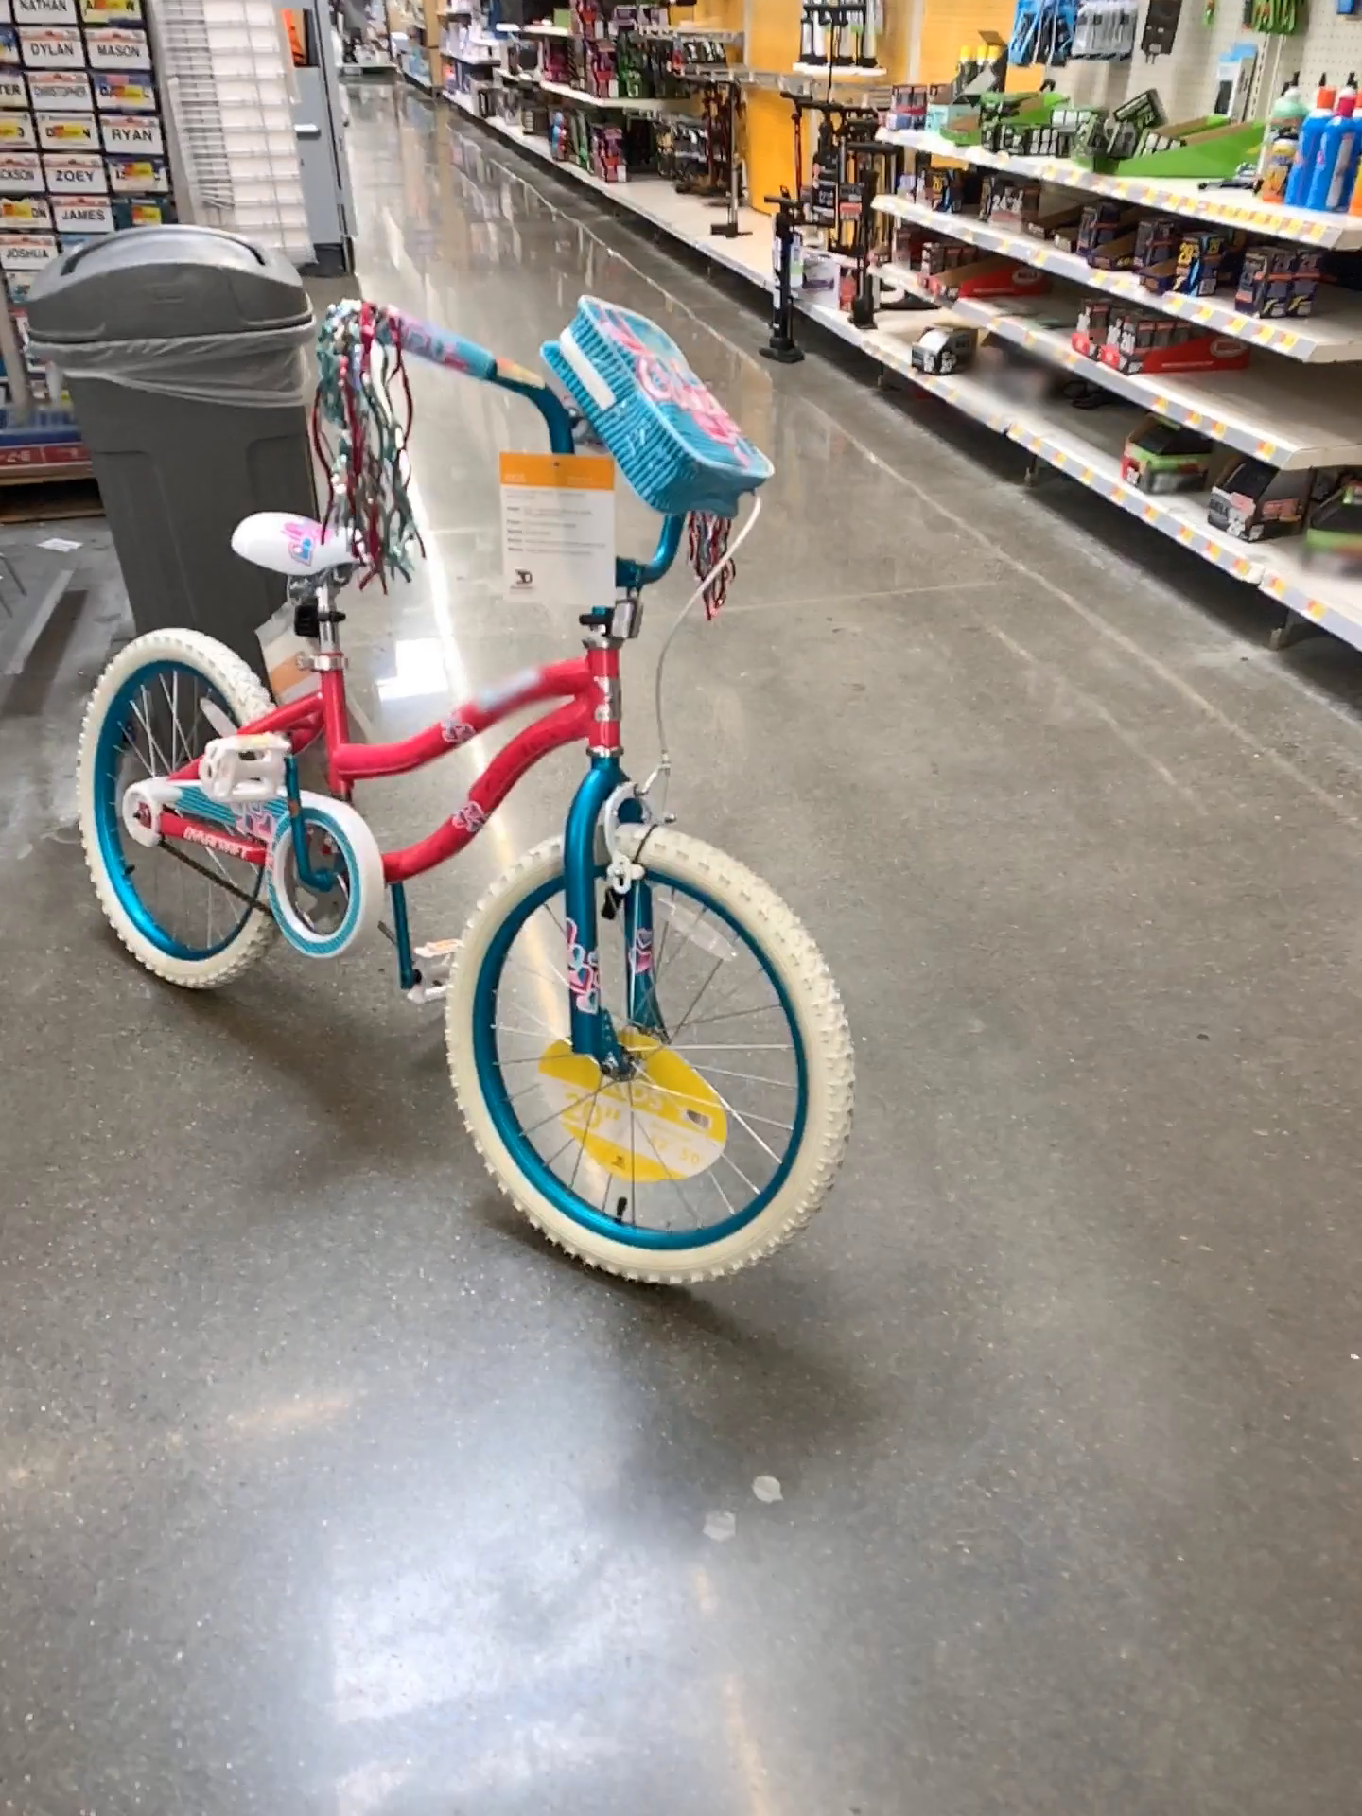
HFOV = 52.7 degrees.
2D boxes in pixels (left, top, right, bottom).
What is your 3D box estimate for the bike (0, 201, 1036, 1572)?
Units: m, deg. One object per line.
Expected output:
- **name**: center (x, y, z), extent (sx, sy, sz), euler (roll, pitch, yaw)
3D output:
- **bike**: center (-0.323, -0.176, 1.609), extent (1.263, 0.929, 0.655), euler (25, 39, 29)
